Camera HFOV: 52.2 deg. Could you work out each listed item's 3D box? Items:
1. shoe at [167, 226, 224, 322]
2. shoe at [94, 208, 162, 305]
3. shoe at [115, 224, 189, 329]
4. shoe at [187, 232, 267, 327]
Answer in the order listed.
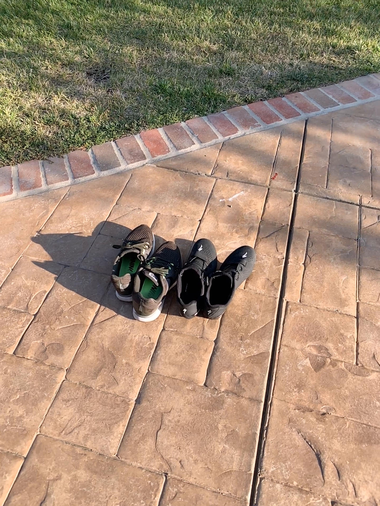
[{"bbox_3d":[0.022,0.055,1.145,0.110,0.070,0.281,9,53,8],"label":"shoe"},{"bbox_3d":[-0.184,0.003,1.214,0.120,0.100,0.291,9,53,8],"label":"shoe"},{"bbox_3d":[-0.102,0.061,1.159,0.120,0.100,0.291,13,53,11],"label":"shoe"},{"bbox_3d":[0.113,0.070,1.147,0.100,0.060,0.291,27,57,20],"label":"shoe"}]
